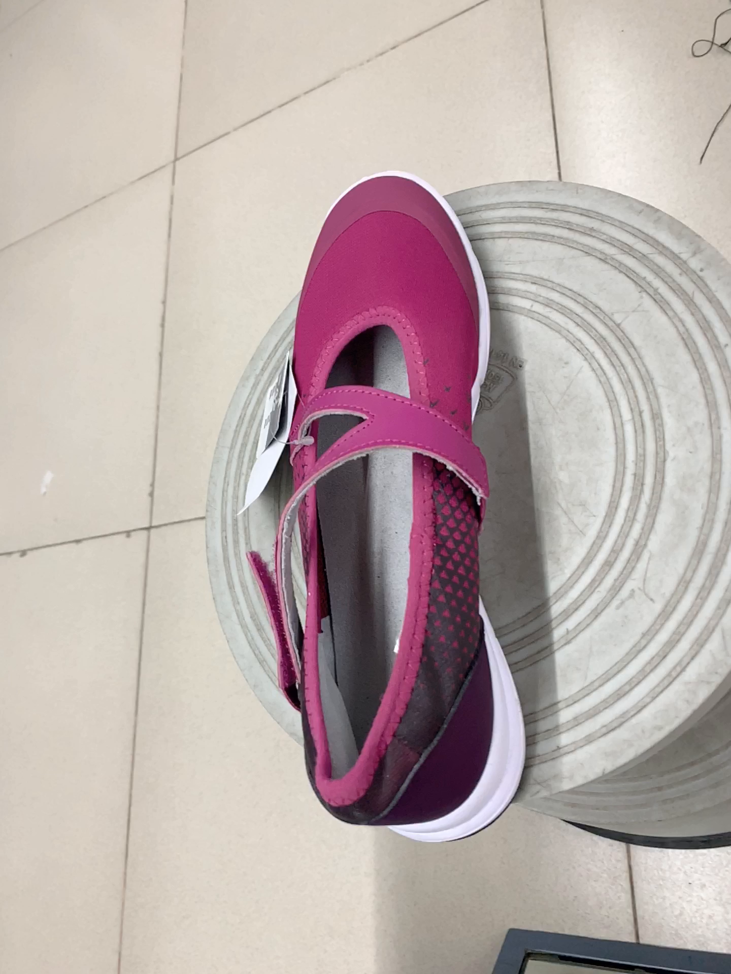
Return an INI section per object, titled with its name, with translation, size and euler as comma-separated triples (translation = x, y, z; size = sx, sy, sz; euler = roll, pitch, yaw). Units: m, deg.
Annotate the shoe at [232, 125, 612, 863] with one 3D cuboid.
[shoe]
translation = 0.013, 0.001, 0.303
size = 0.100, 0.070, 0.260
euler = -17, 68, 28
